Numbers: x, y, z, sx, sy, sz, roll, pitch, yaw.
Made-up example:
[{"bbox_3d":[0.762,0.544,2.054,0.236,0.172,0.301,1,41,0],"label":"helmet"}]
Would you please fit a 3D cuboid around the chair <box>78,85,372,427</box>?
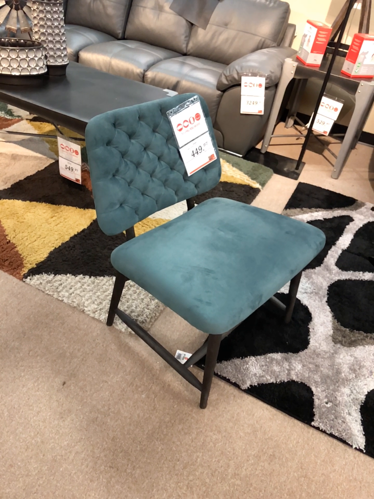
[{"bbox_3d":[0.078,-0.023,1.332,0.532,0.765,0.642,33,42,27],"label":"chair"}]
